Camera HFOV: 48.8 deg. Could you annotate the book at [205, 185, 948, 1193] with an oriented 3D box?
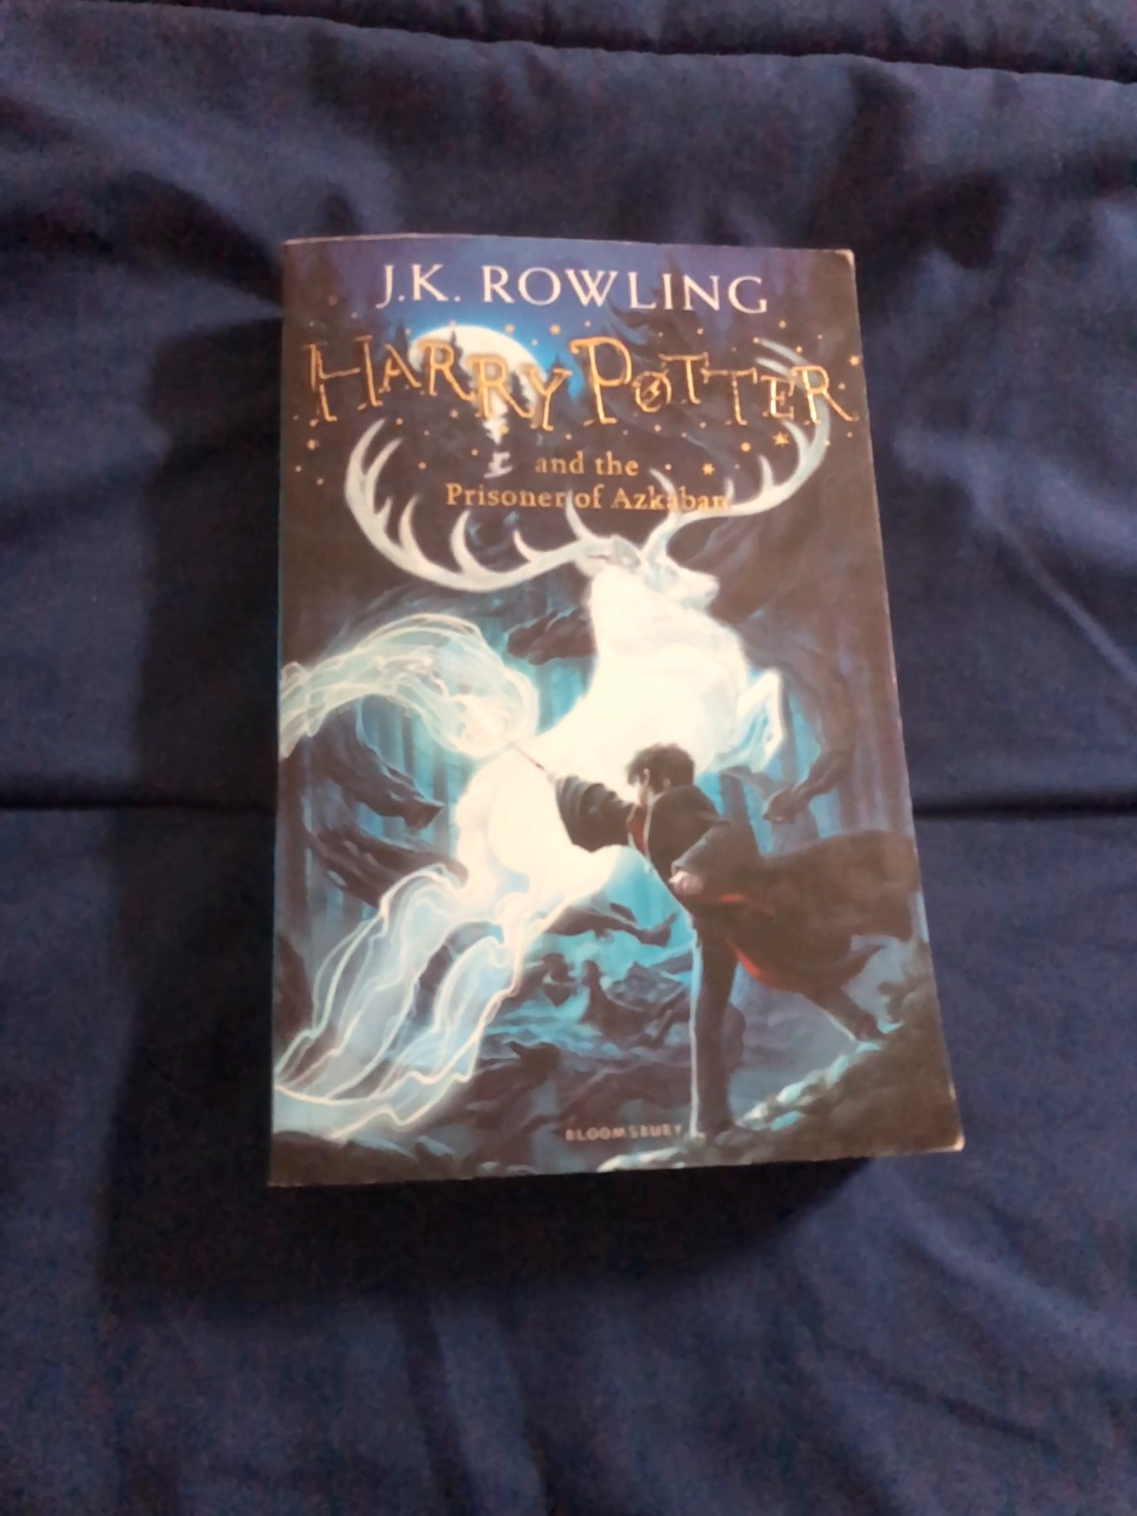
[{"bbox_3d":[-0.002,-0.017,0.268,0.134,0.045,0.200,0,77,-6],"label":"book"}]
